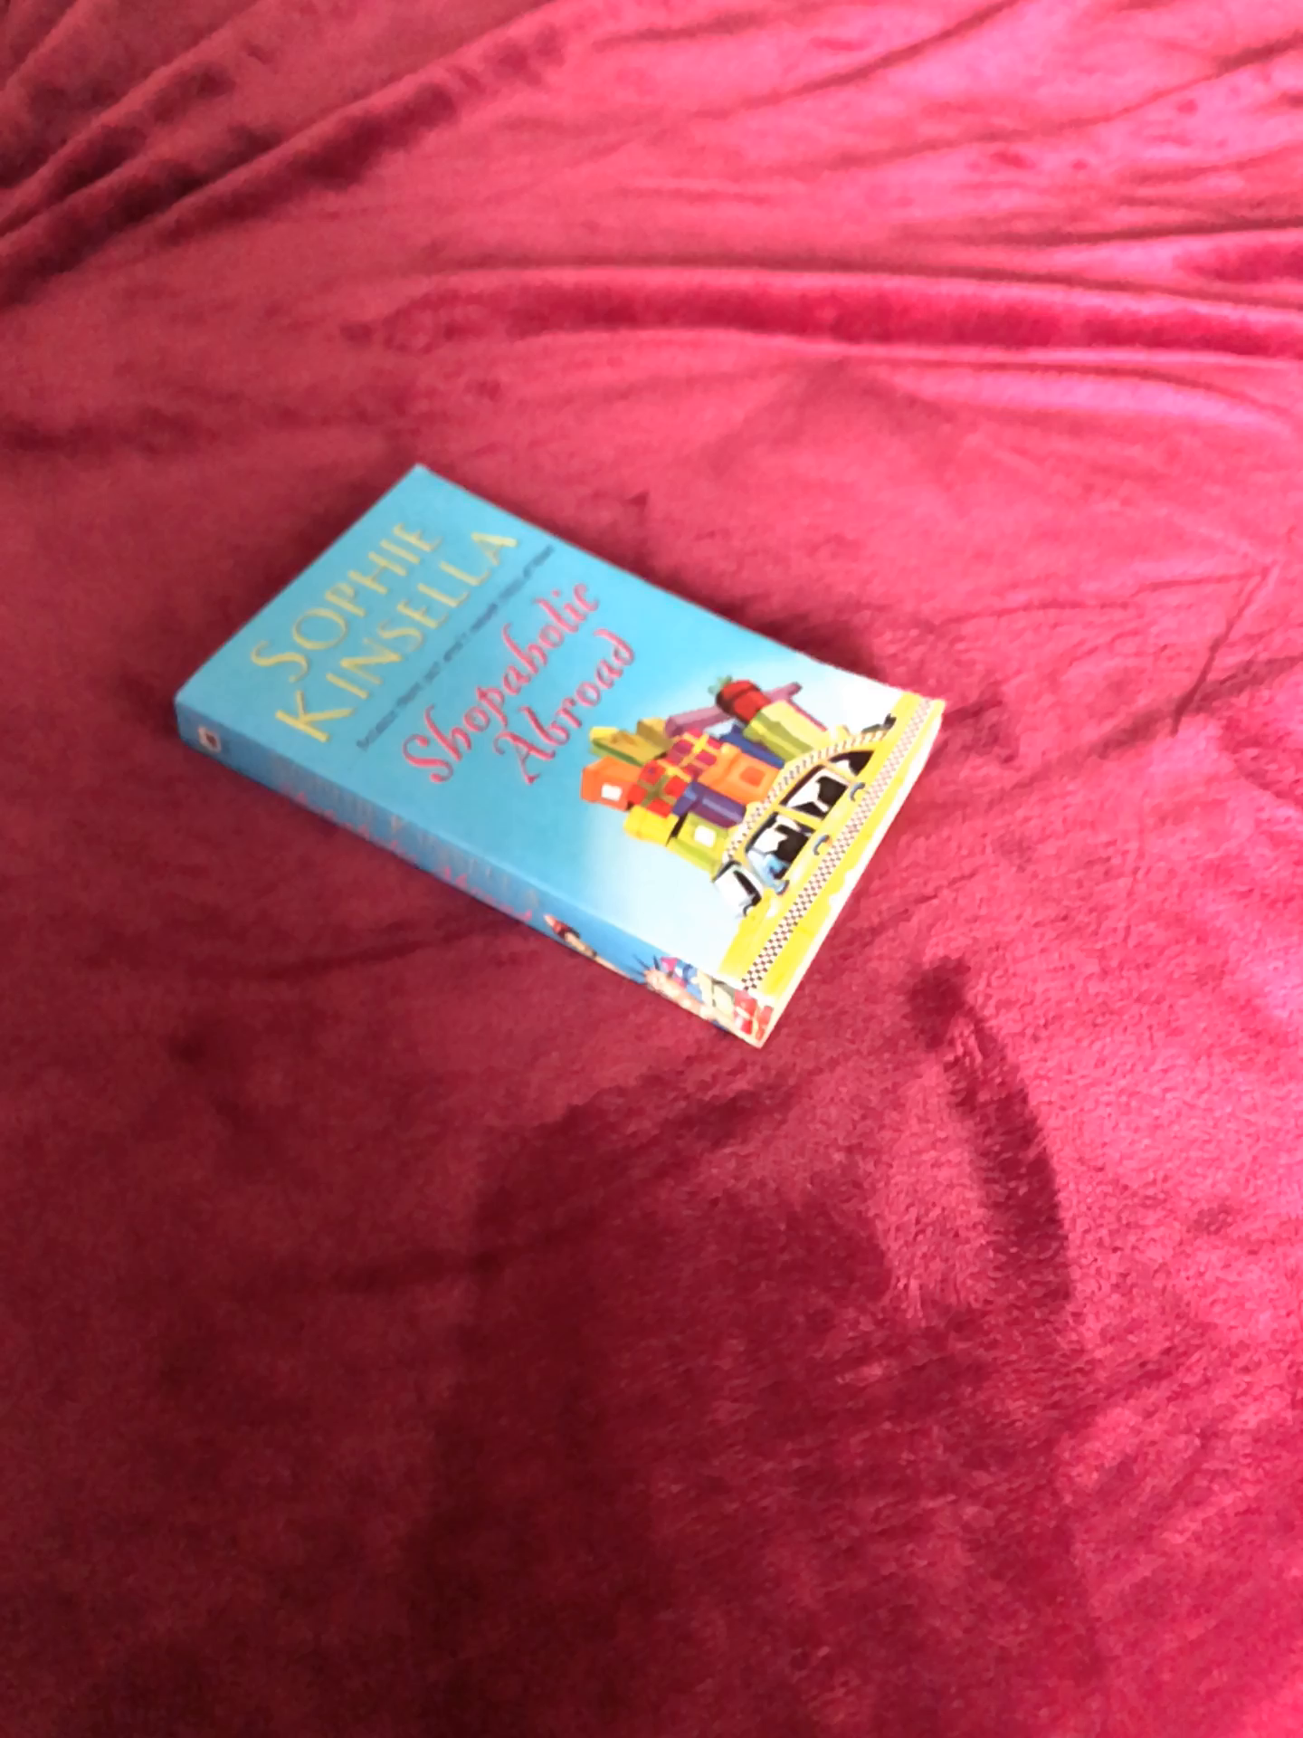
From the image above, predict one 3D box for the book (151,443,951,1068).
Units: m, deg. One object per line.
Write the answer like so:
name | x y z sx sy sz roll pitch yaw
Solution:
book | -0.027 -0.044 0.445 0.200 0.035 0.130 27 54 10
